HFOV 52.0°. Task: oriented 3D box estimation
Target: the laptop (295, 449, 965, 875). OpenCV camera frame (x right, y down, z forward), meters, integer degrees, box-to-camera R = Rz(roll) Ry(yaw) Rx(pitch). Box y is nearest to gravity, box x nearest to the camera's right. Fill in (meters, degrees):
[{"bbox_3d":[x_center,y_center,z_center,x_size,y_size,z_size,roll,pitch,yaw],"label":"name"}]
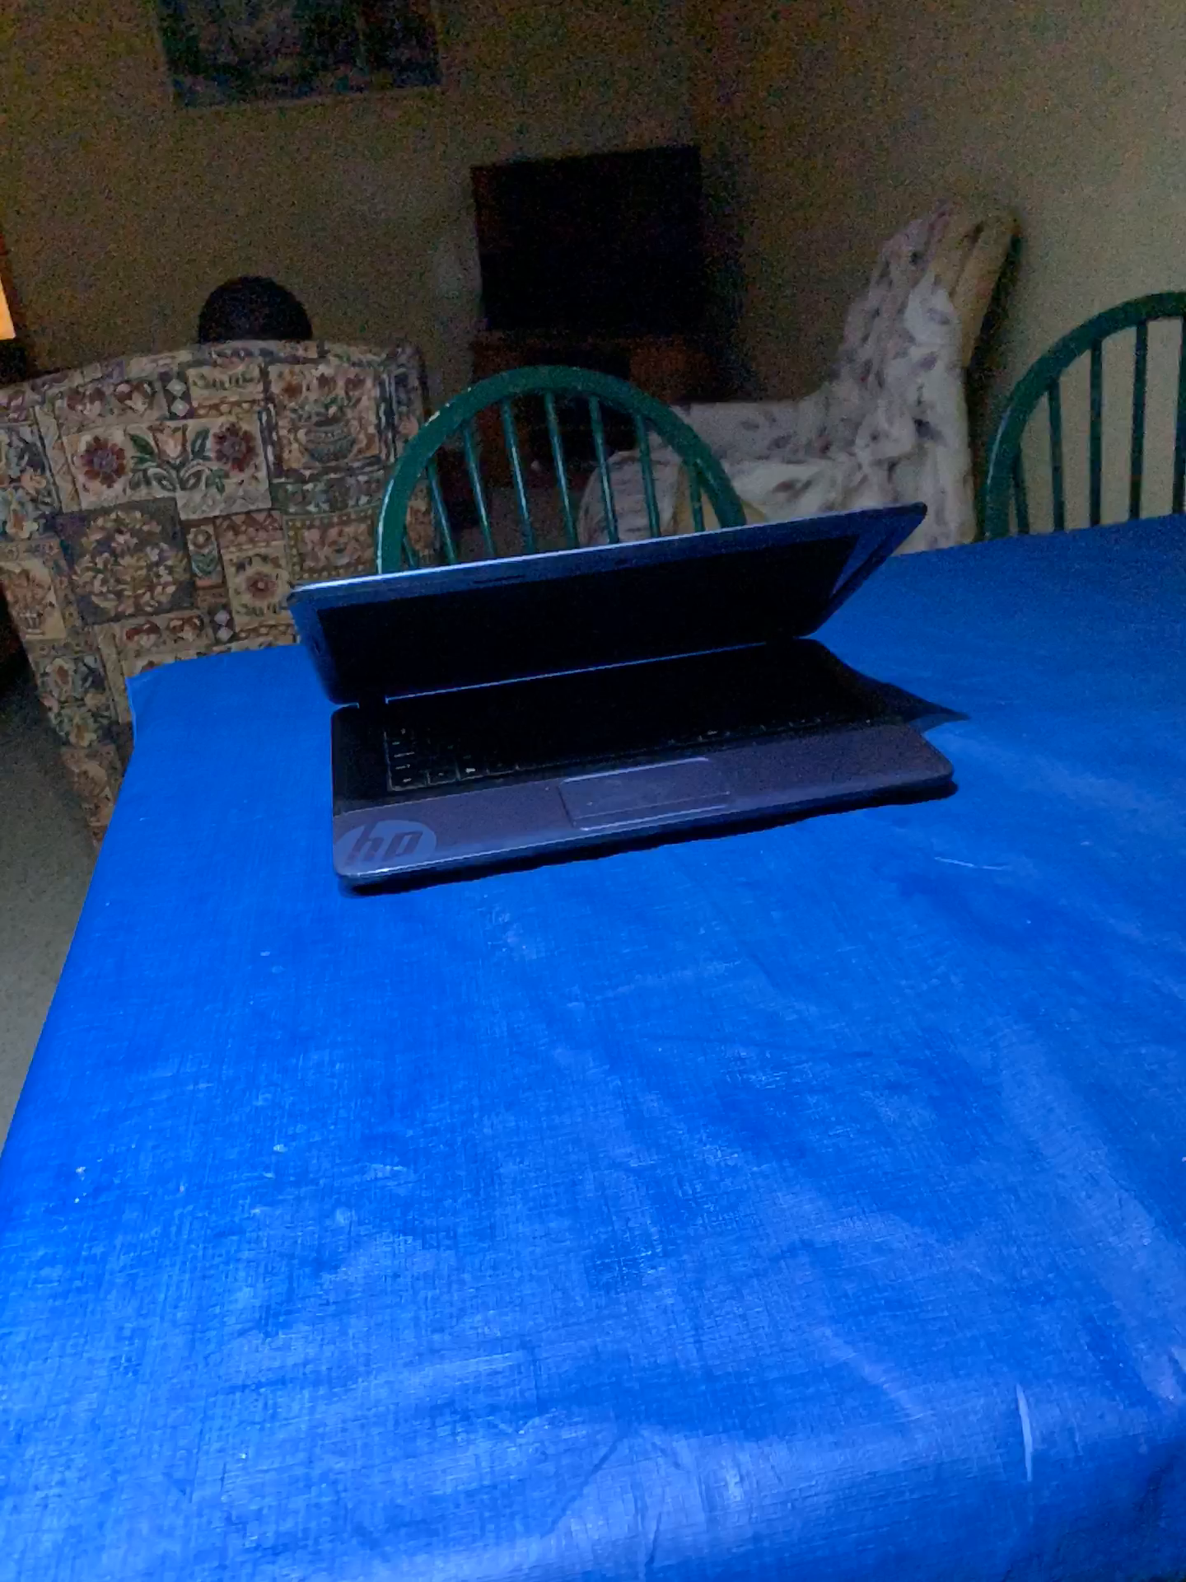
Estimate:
[{"bbox_3d":[0.008,-0.099,0.776,0.362,0.141,0.241,-9,27,-7],"label":"laptop"}]
